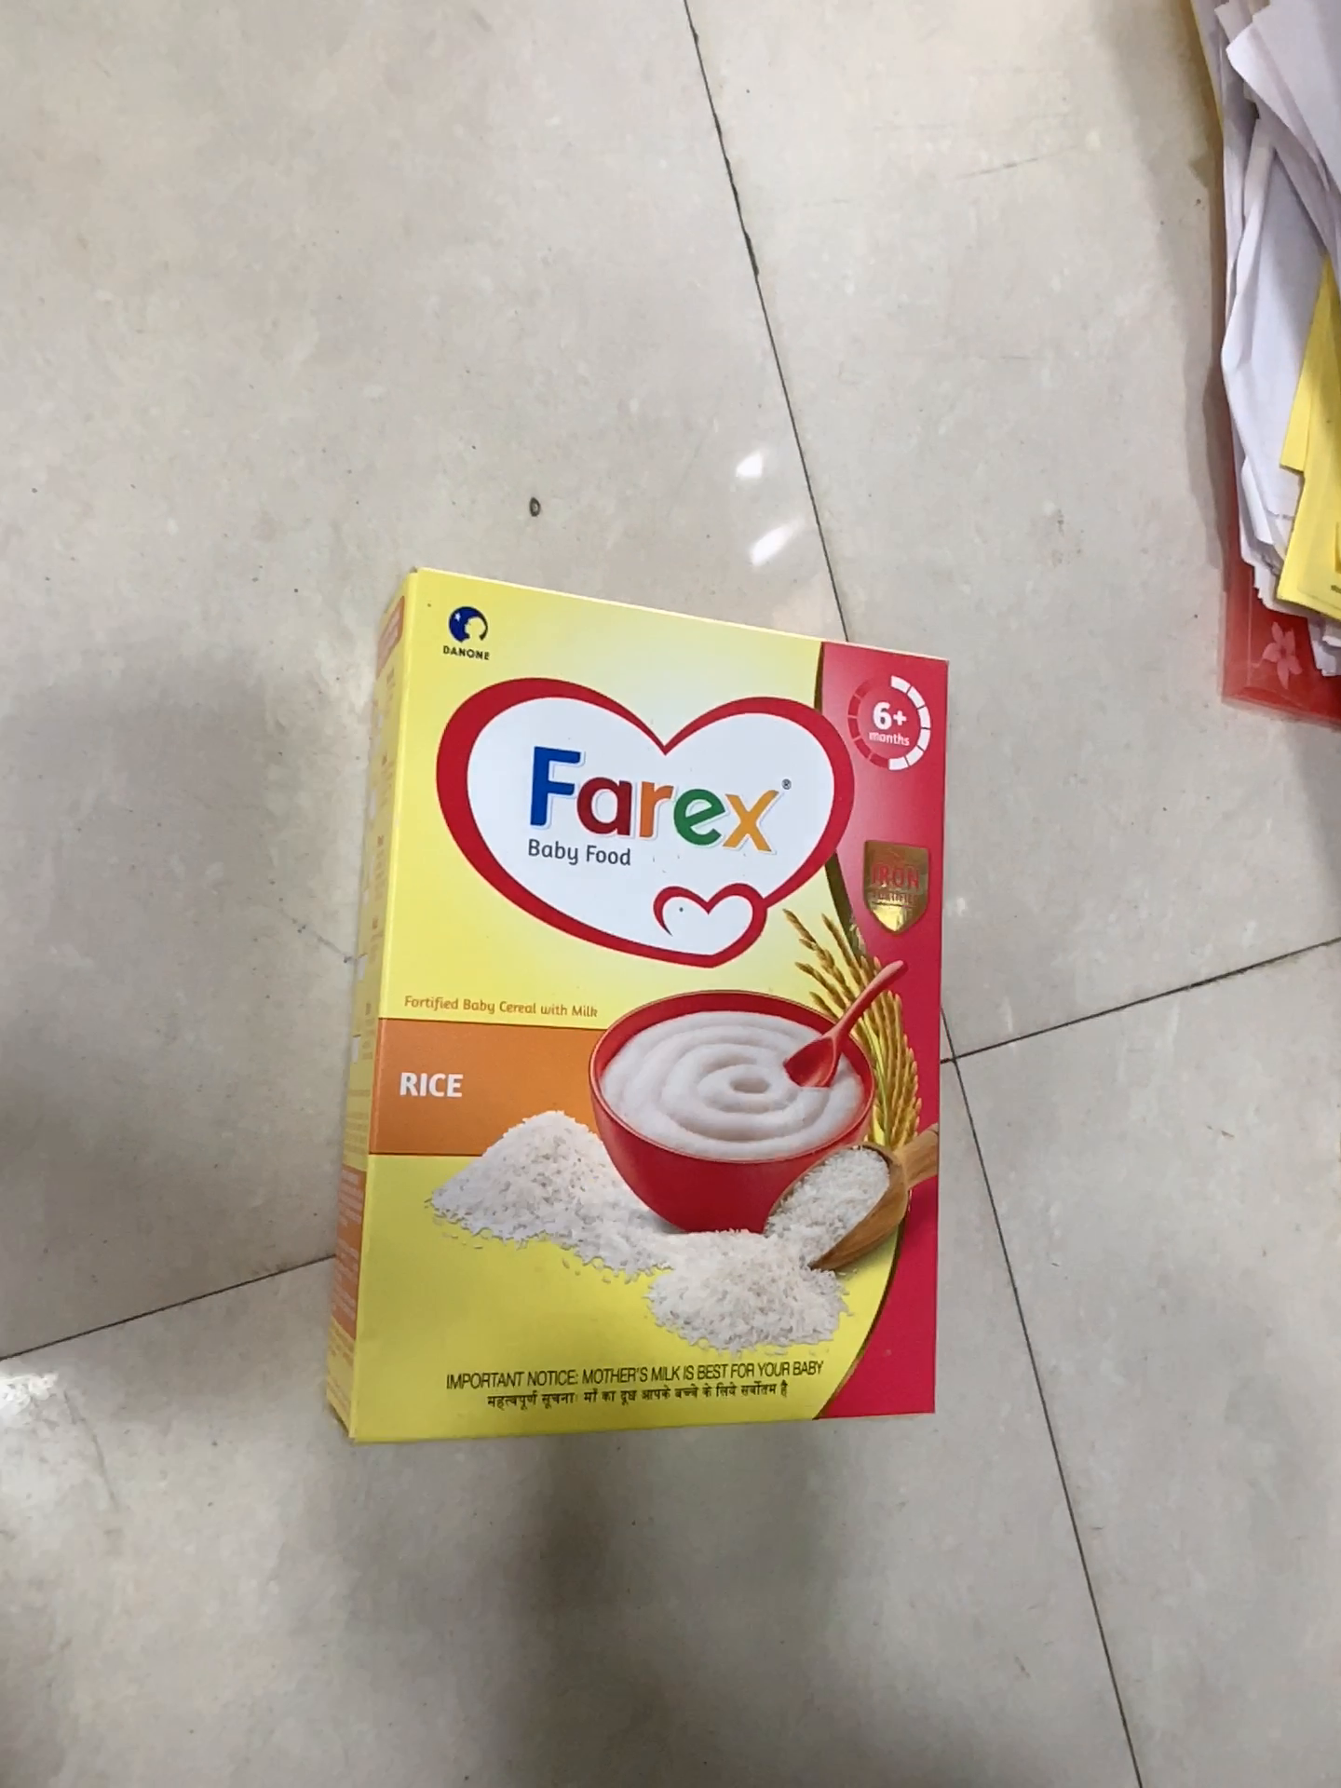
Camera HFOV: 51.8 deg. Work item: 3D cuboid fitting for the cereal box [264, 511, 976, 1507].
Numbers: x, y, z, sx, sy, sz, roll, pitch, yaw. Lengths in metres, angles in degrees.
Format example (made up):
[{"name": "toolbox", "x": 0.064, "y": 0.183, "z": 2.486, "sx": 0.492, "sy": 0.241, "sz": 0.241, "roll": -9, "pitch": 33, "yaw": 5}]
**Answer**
[{"name": "cereal box", "x": -0.008, "y": 0.029, "z": 0.347, "sx": 0.160, "sy": 0.060, "sz": 0.210, "roll": 5, "pitch": 81, "yaw": -21}]
